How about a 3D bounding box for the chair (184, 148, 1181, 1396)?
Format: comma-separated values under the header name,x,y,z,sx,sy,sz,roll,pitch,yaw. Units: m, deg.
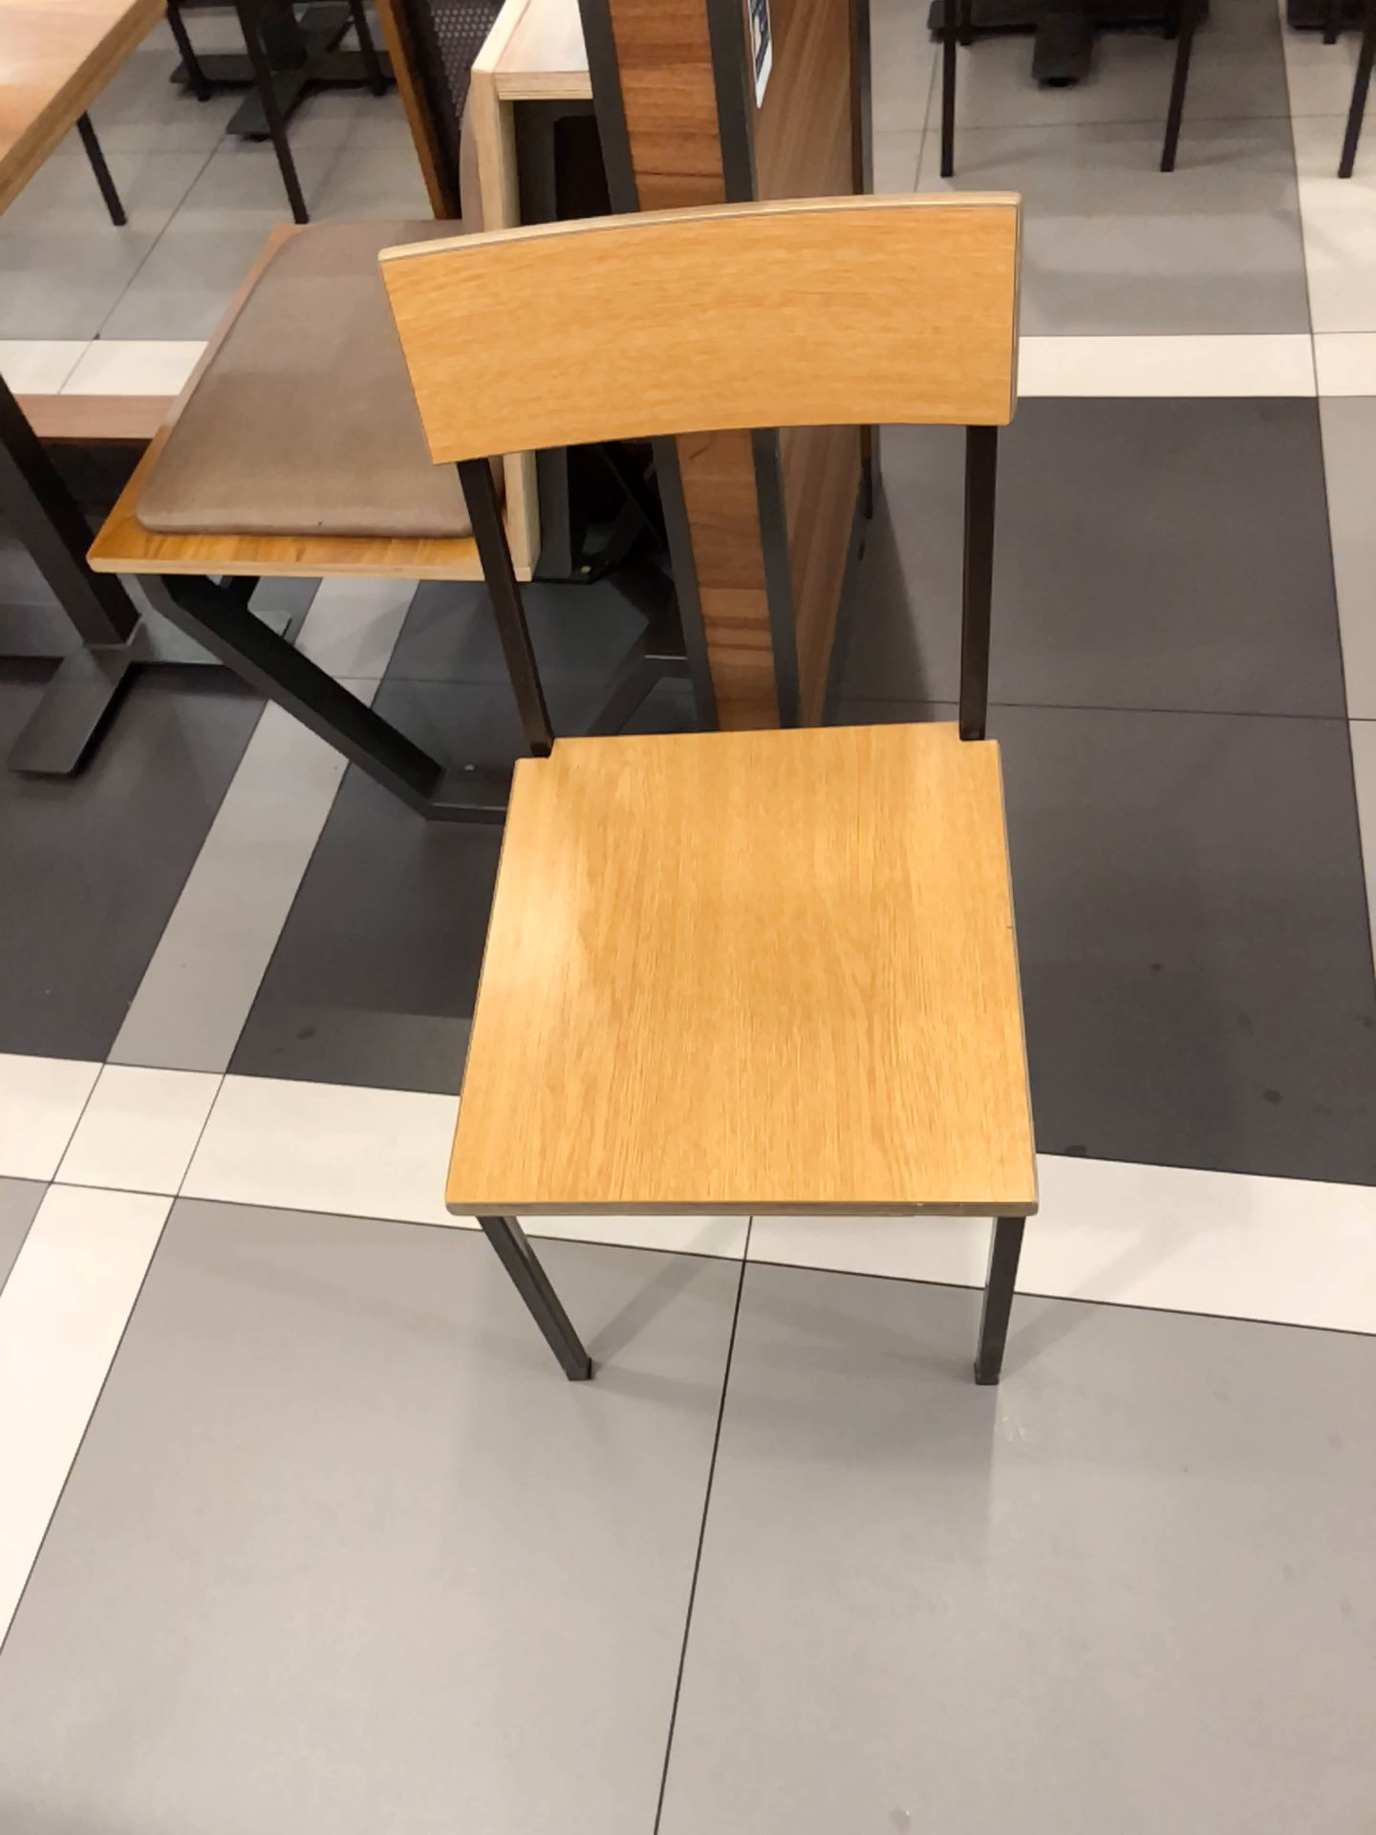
name,x,y,z,sx,sy,sz,roll,pitch,yaw
chair,0.048,-0.012,1.118,0.430,0.846,0.462,-2,54,7
